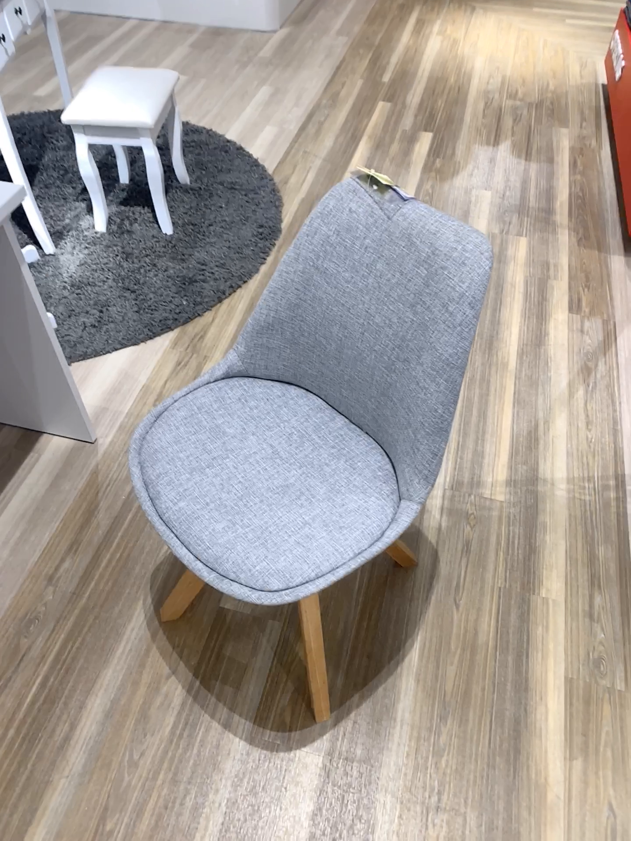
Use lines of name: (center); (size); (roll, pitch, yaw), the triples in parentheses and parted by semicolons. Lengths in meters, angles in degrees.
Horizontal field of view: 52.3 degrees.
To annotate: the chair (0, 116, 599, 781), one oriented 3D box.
chair: (-0.039, 0.089, 1.068); (0.516, 0.856, 0.515); (-36, 58, -27)
